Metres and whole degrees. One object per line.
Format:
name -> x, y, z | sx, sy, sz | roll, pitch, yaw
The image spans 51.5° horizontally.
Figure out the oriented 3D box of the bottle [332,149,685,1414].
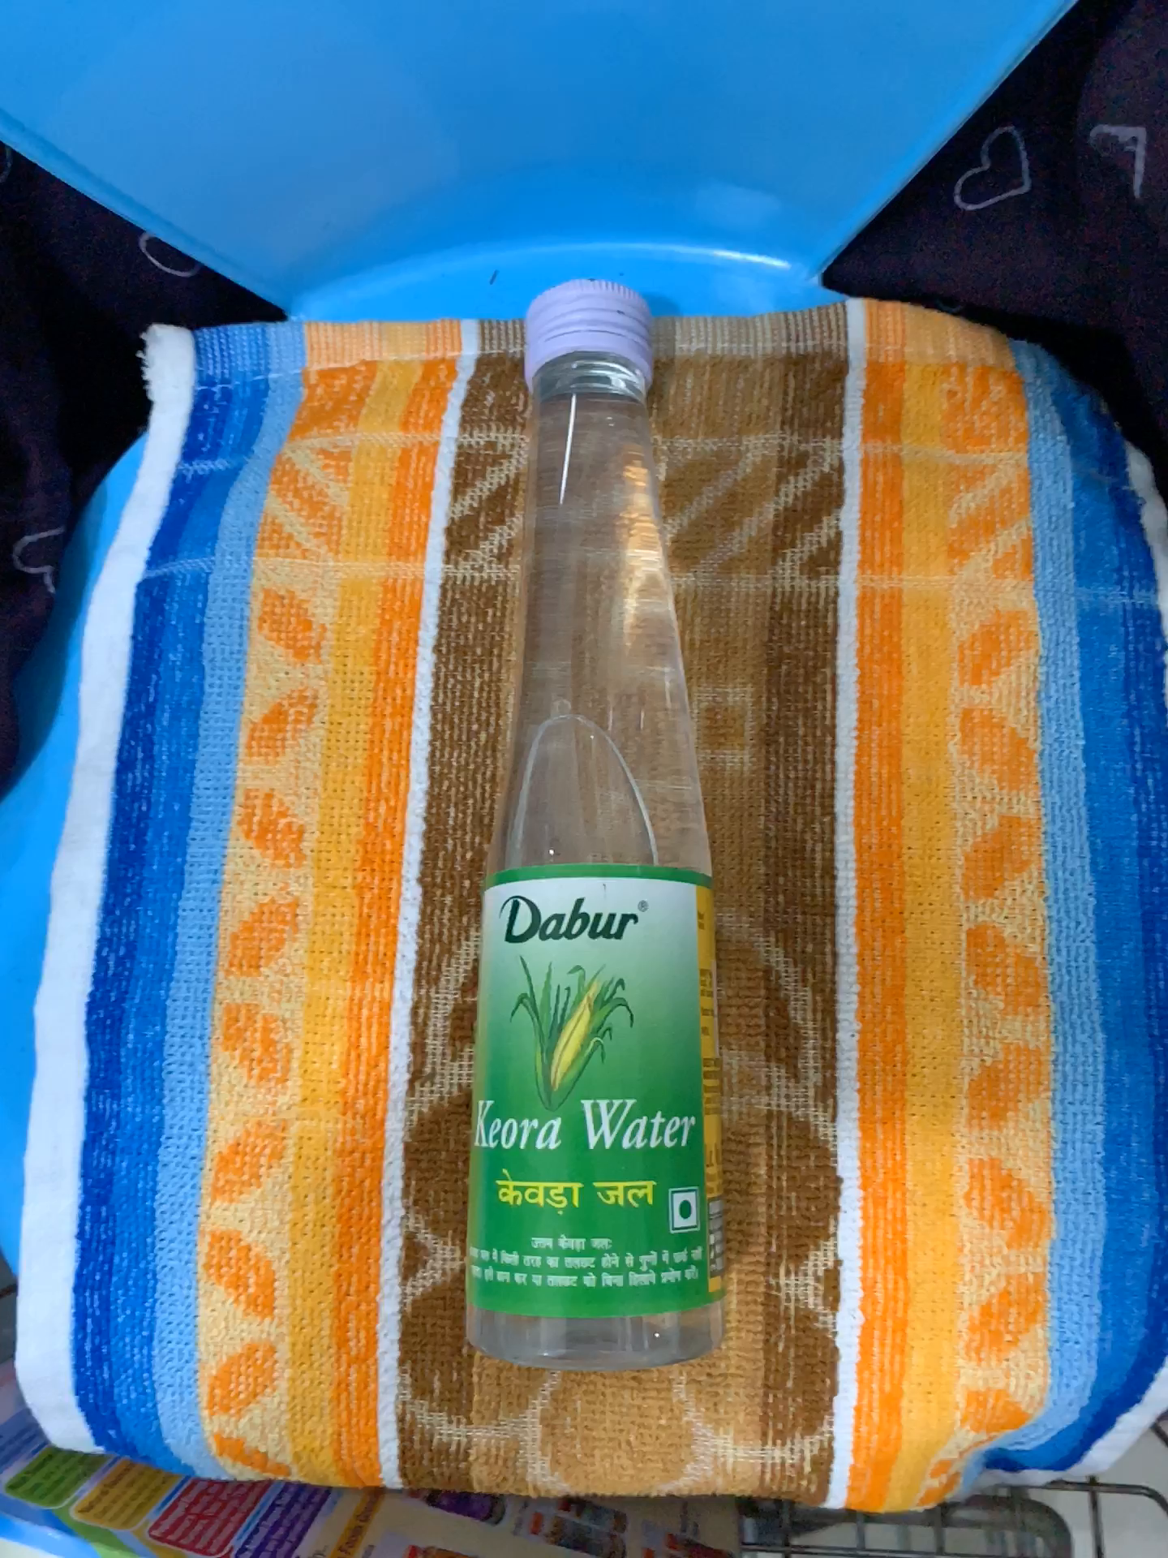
bottle -> -0.012, -0.003, 0.217 | 0.050, 0.050, 0.200 | -3, 81, 7
